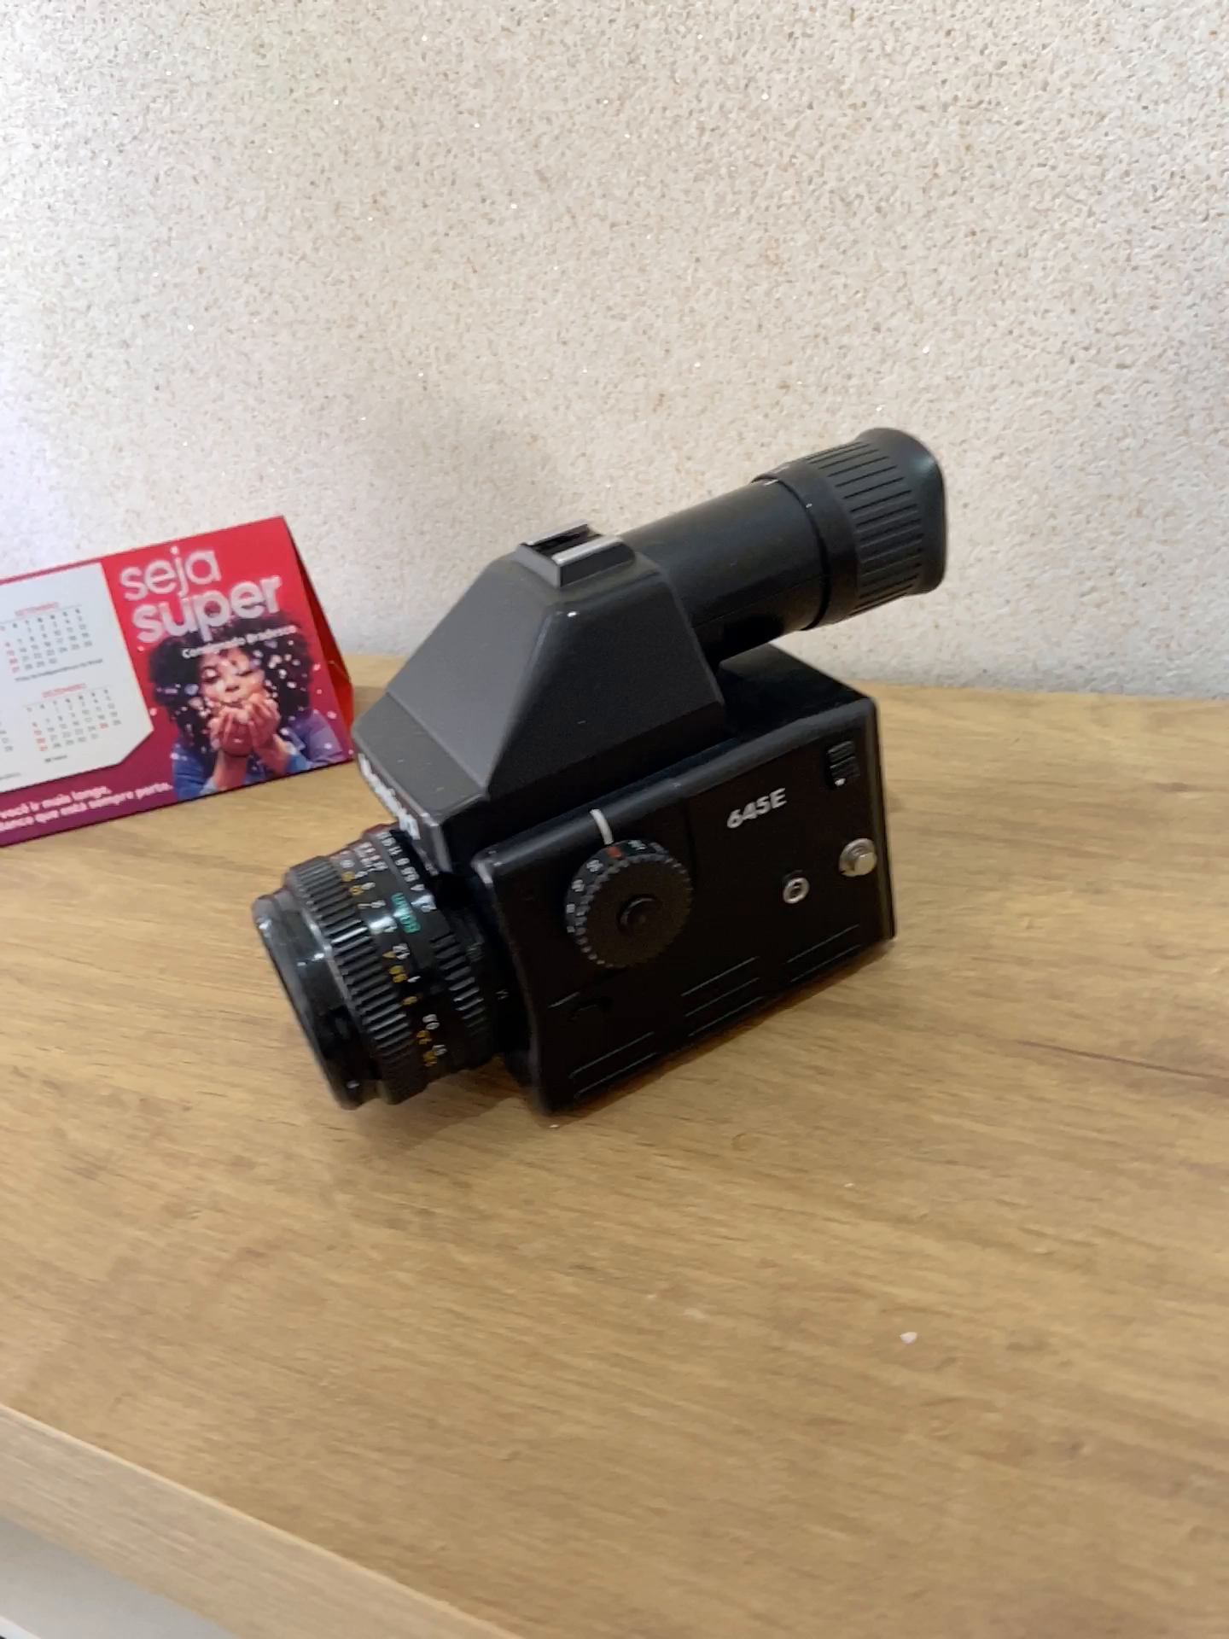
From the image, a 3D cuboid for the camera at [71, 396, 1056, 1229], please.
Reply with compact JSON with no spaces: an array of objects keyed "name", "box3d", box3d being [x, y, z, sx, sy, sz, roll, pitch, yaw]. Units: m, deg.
[{"name":"camera","box3d":[-0.006,-0.021,0.346,0.220,0.109,0.121,-26,34,-20]}]
